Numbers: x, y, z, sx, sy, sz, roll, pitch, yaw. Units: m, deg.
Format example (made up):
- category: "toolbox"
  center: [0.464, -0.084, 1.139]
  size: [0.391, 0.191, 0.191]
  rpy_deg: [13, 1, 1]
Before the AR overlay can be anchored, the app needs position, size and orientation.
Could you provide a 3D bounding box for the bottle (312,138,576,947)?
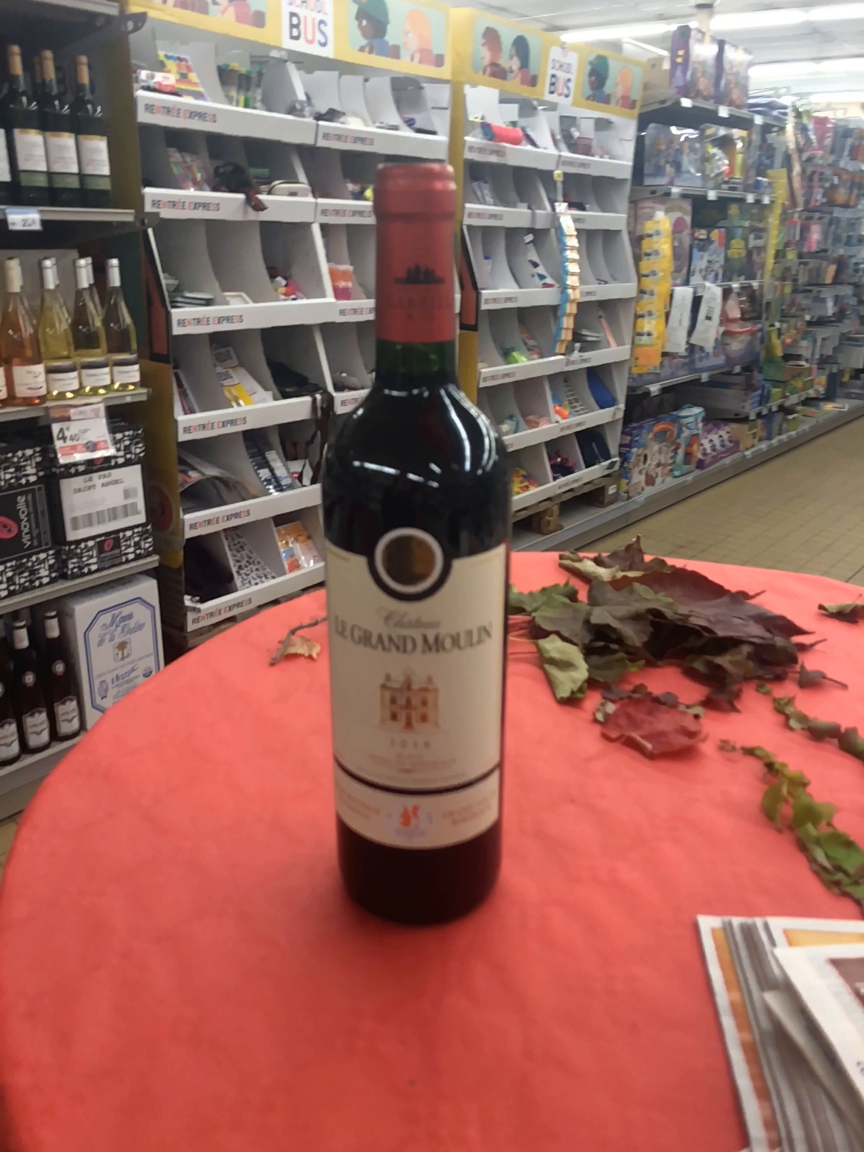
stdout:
- category: "bottle"
  center: [0.002, -0.005, 0.372]
  size: [0.080, 0.299, 0.080]
  rpy_deg: [2, 20, -1]
